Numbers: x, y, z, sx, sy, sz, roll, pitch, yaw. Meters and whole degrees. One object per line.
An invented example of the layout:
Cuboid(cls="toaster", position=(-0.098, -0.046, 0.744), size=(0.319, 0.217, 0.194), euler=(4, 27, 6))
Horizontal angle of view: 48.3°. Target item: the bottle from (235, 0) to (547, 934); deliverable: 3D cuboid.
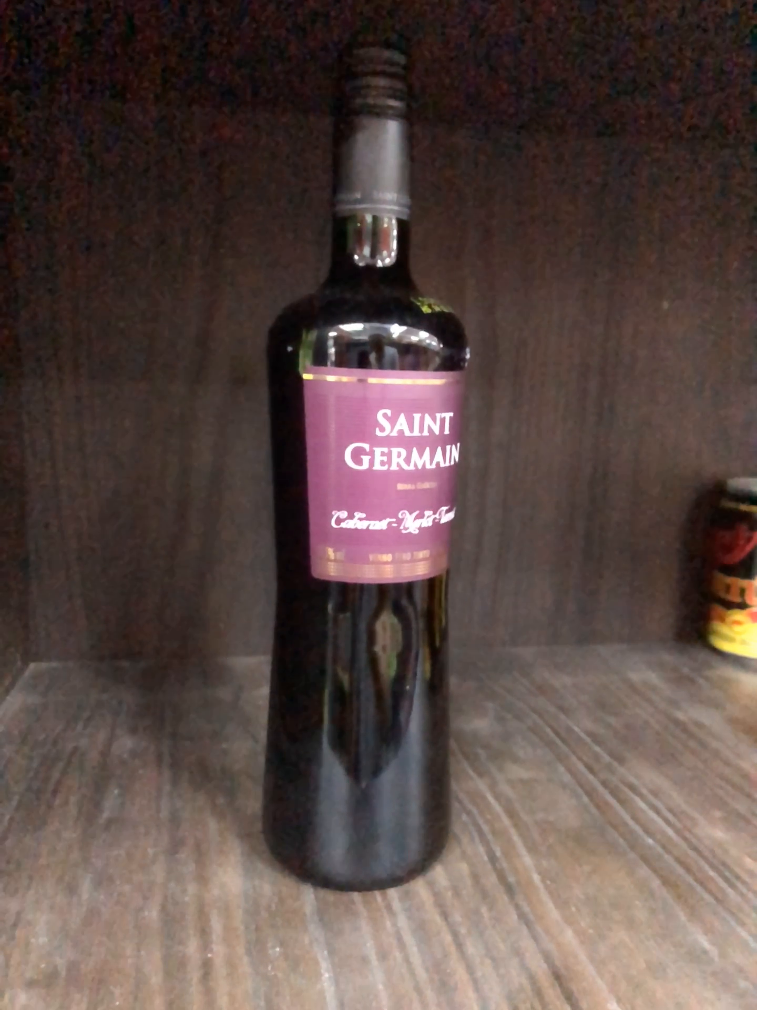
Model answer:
Cuboid(cls="bottle", position=(0.000, -0.016, 0.315), size=(0.080, 0.309, 0.070), euler=(-5, 10, -40))
